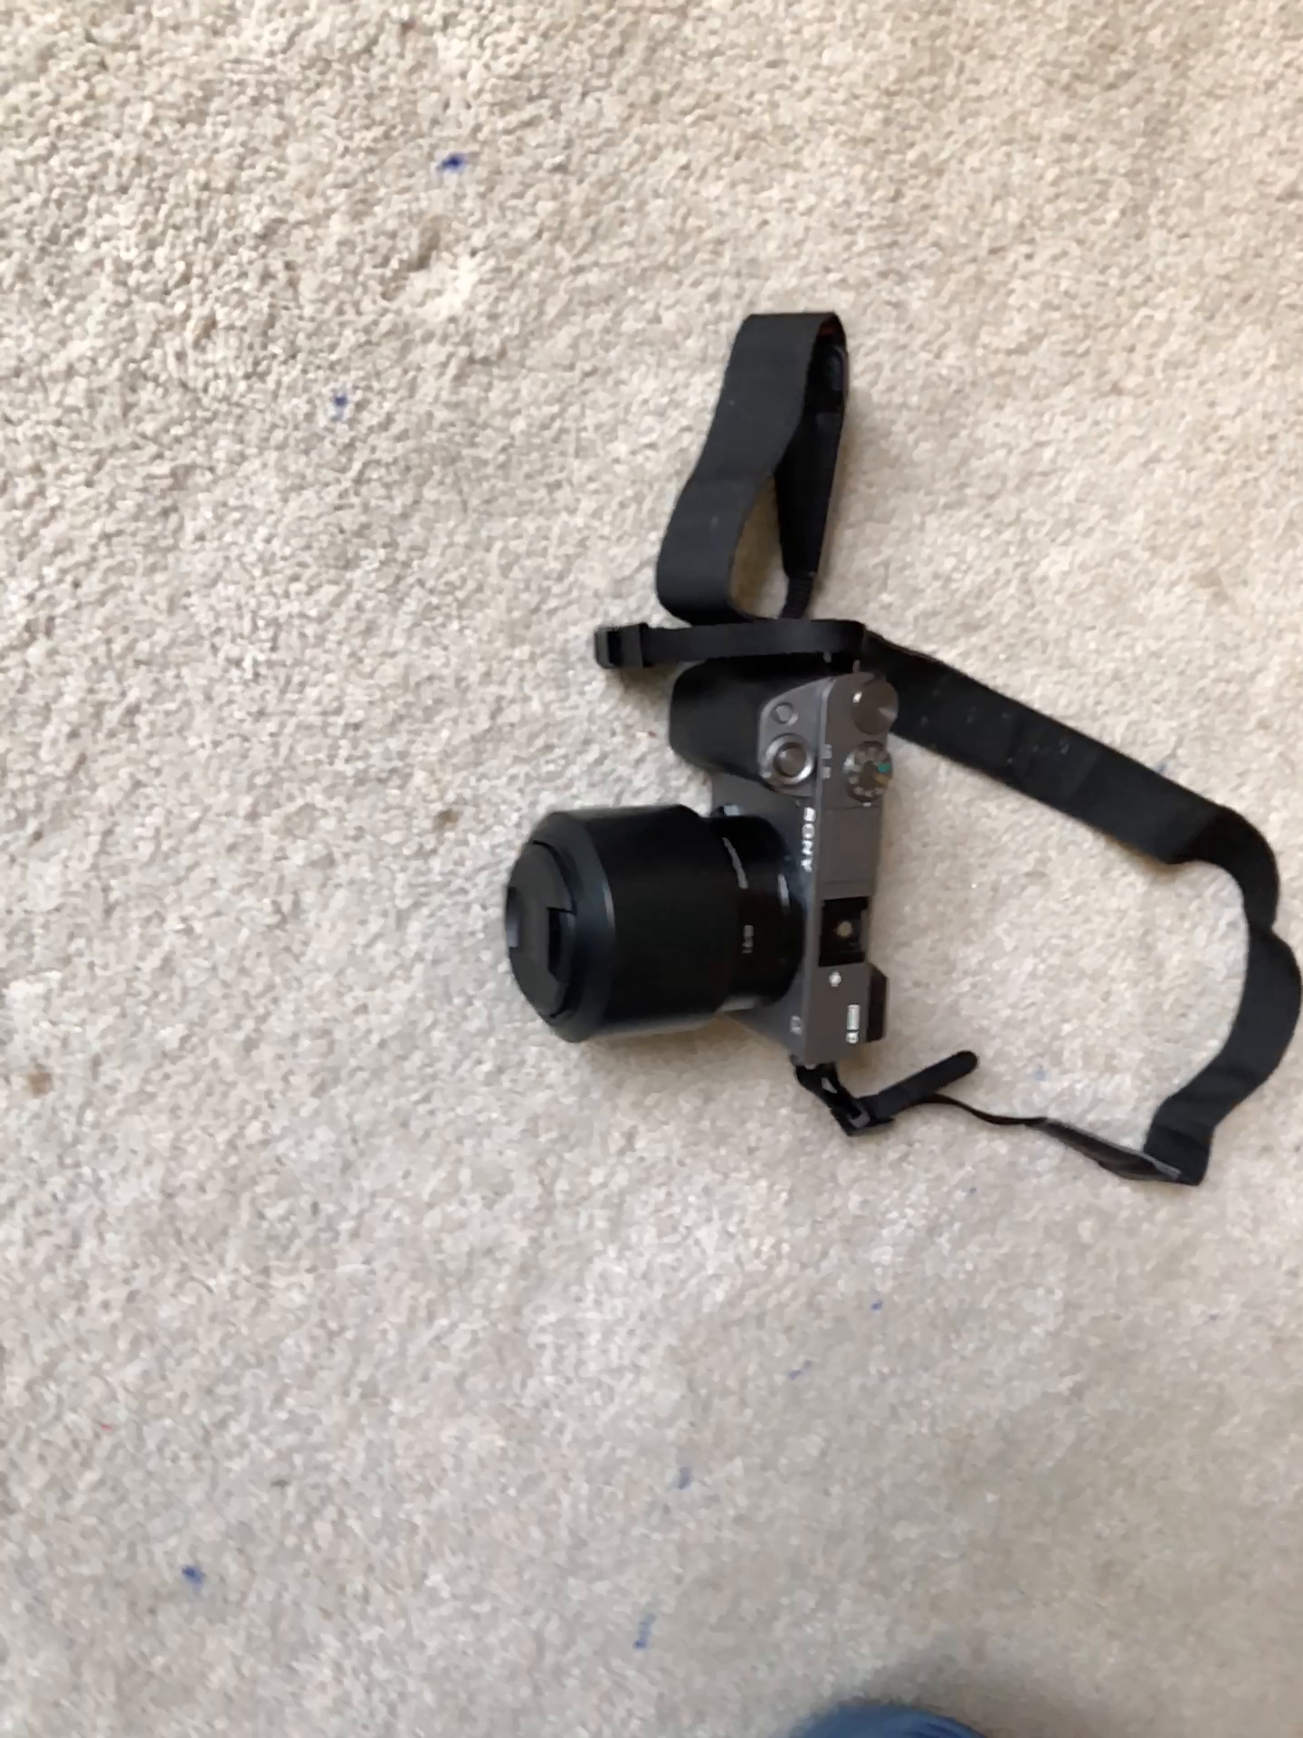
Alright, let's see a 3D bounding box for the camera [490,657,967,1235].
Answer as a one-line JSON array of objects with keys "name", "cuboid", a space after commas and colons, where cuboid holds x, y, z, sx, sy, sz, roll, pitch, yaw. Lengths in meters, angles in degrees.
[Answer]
[{"name": "camera", "cuboid": [0.020, 0.014, 0.410, 0.110, 0.070, 0.140, -6, 103, -27]}]
